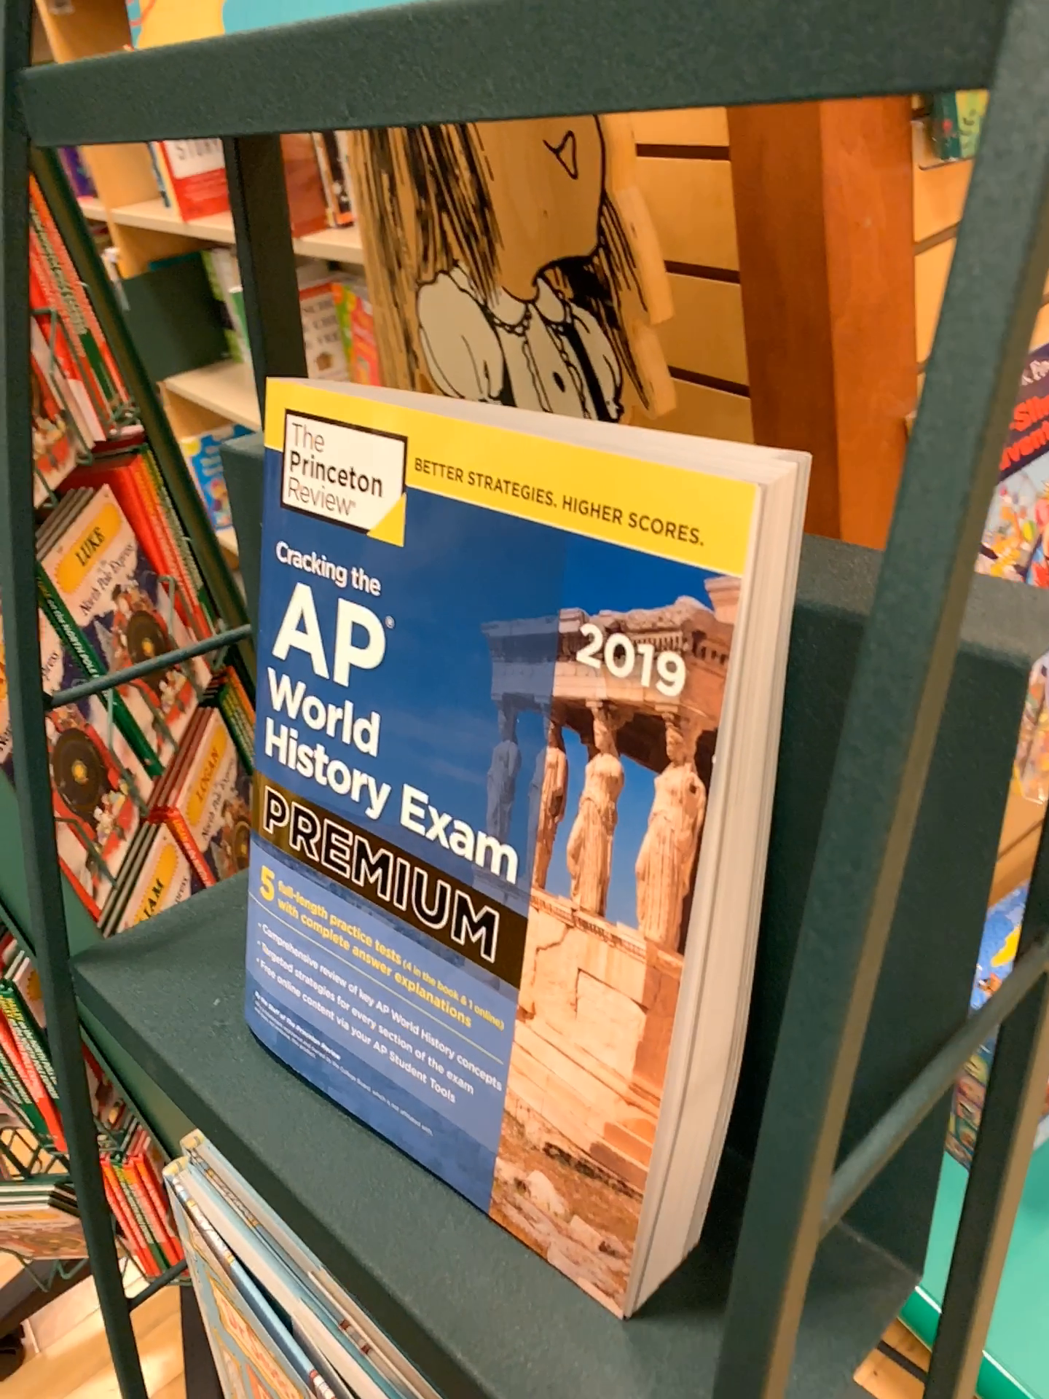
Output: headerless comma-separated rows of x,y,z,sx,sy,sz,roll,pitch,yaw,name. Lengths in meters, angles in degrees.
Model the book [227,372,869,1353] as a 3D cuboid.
-0.018,0.036,0.375,0.215,0.269,0.057,21,23,39,book
